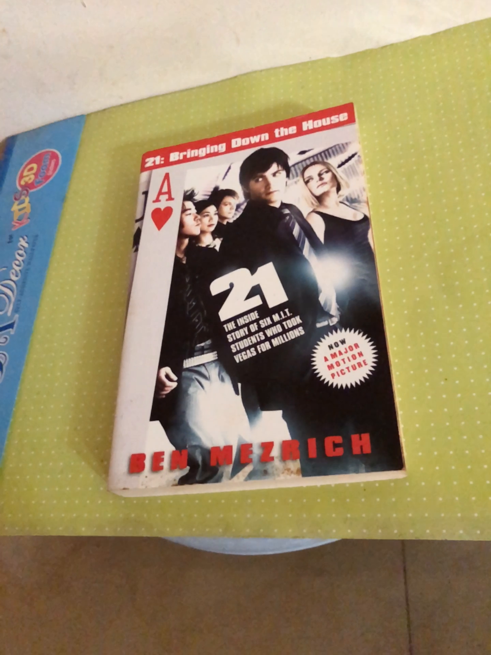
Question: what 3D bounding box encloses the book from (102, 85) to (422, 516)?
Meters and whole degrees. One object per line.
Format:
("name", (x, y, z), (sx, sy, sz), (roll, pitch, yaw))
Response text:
("book", (0.006, -0.020, 0.282), (0.130, 0.040, 0.210), (-9, 61, 15))
